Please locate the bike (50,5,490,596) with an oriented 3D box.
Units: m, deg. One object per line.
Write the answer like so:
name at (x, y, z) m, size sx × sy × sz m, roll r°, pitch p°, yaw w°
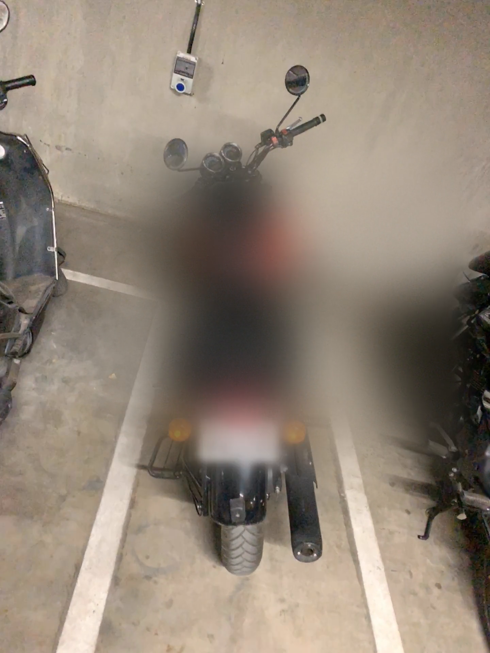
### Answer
bike at (-0.153, -0.254, 1.970) m, size 0.829 × 1.301 × 1.843 m, roll 8°, pitch 36°, yaw -18°
